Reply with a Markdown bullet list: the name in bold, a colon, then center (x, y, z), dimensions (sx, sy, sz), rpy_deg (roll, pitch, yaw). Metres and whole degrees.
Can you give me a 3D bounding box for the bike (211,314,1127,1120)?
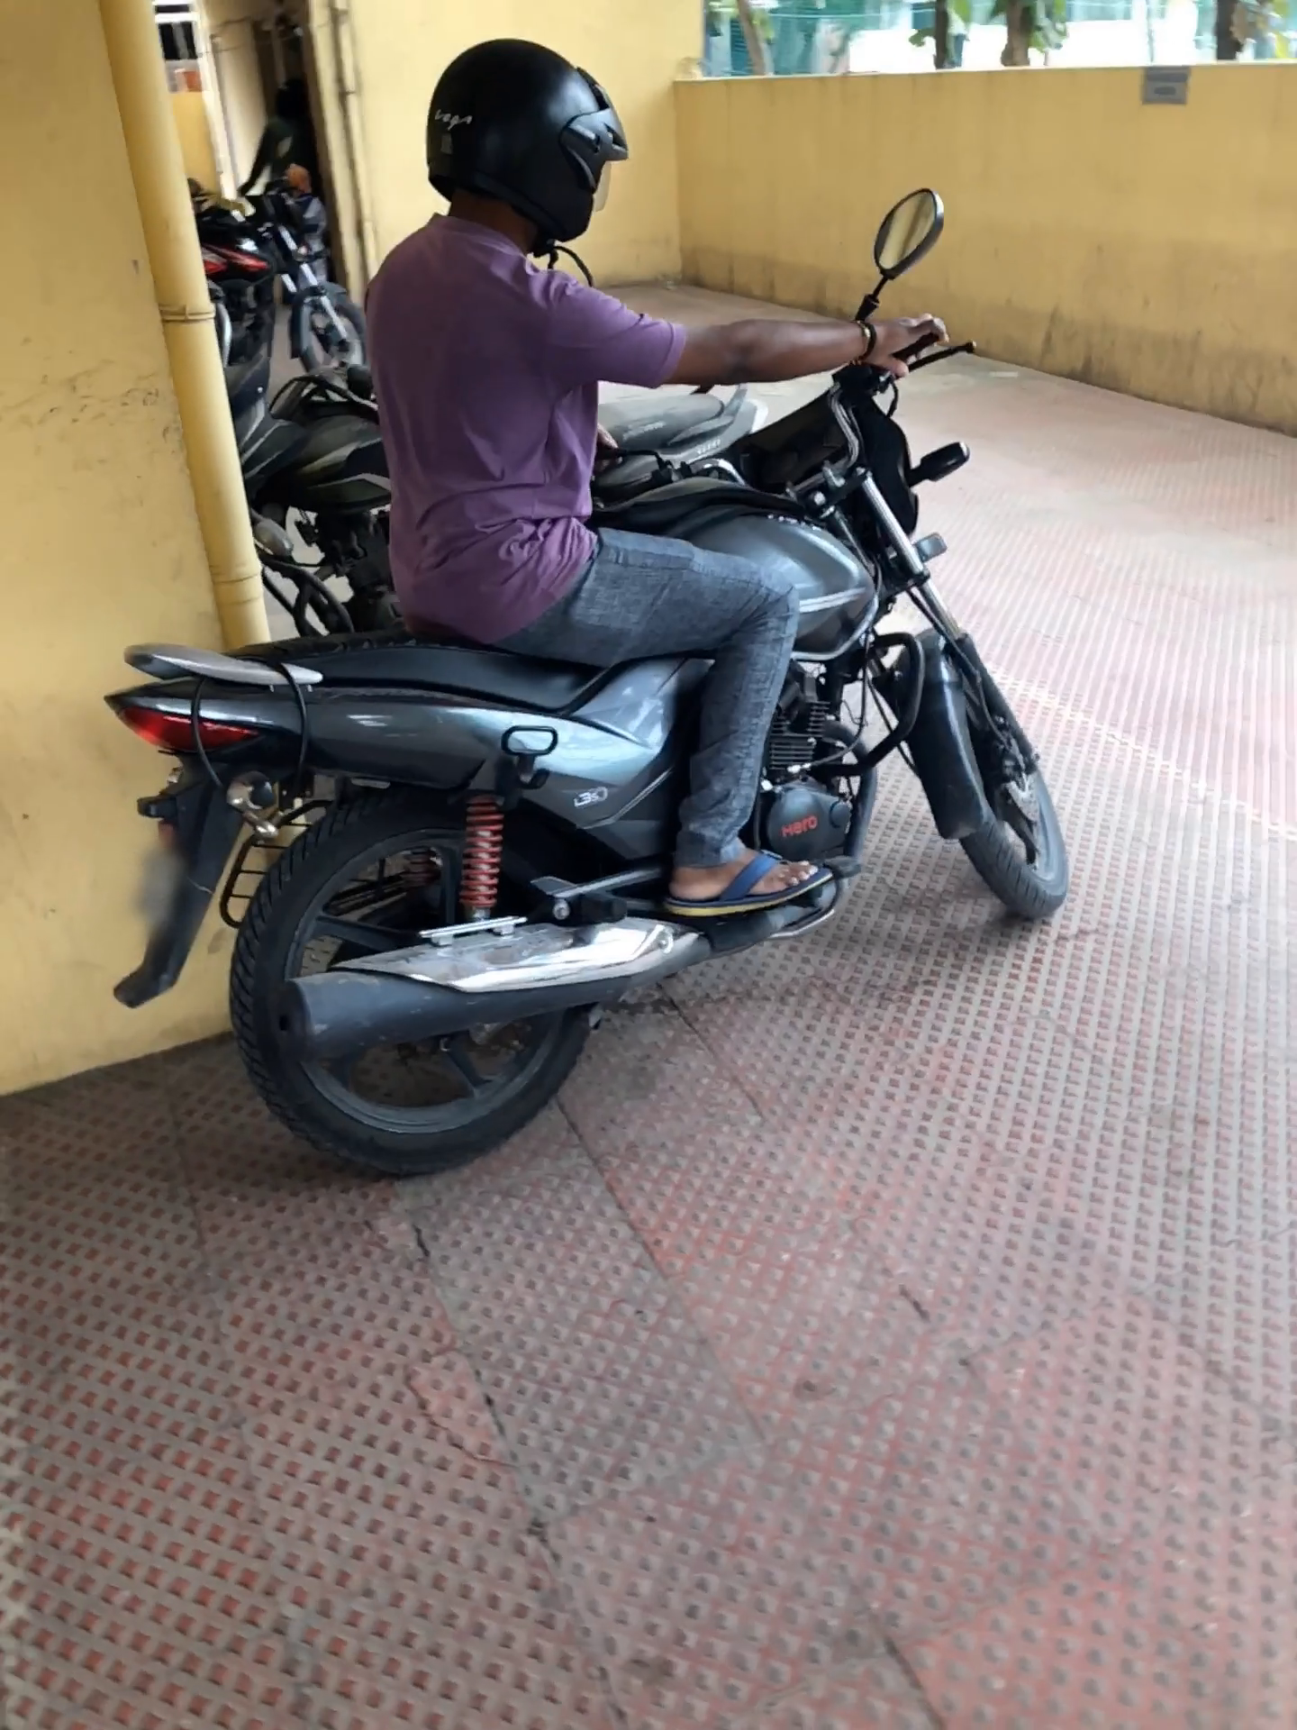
- **bike**: center (0.075, -0.349, 2.459), dimensions (1.239, 0.999, 0.702), rpy_deg (-19, 33, -30)
